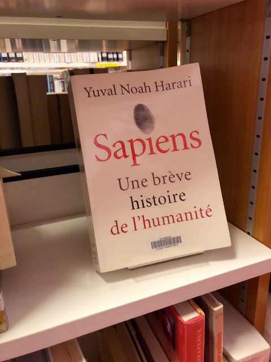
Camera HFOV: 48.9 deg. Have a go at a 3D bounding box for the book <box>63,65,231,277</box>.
[{"bbox_3d":[0.012,-0.020,0.394,0.178,0.244,0.052,-8,-5,-13],"label":"book"}]
